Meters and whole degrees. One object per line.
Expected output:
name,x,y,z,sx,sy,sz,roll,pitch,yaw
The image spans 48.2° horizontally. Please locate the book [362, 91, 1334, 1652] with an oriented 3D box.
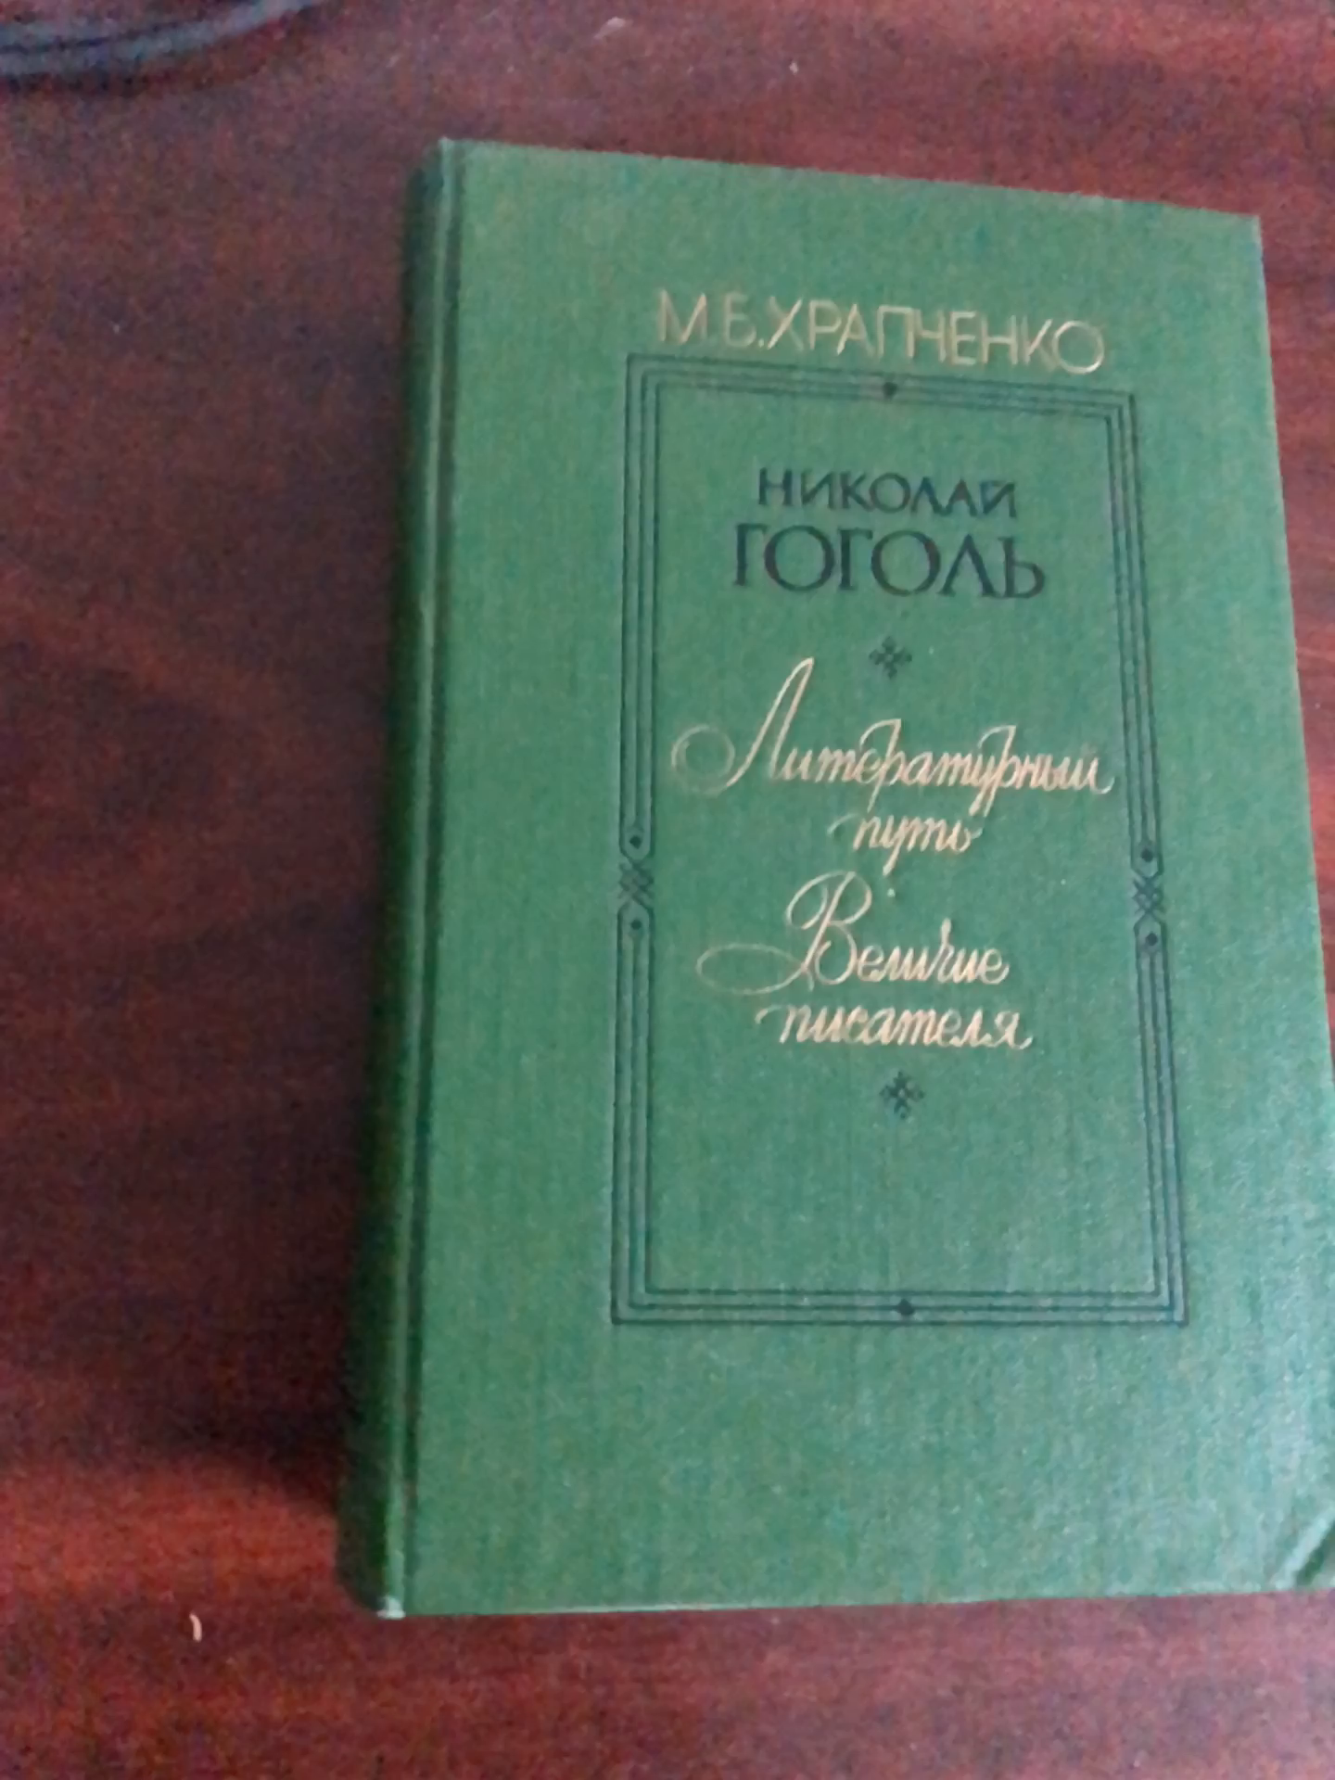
book,0.026,-0.007,0.224,0.129,0.050,0.206,1,78,-7
